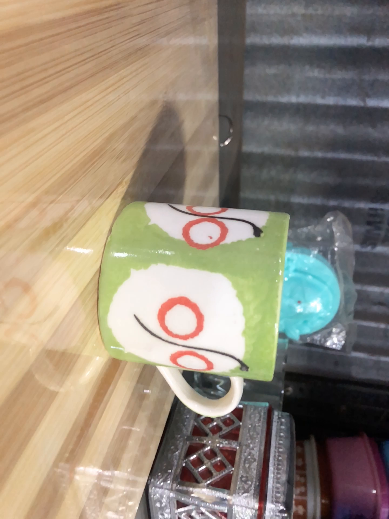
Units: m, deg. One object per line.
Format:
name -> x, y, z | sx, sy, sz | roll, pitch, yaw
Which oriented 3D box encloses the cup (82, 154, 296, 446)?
cup -> 0.004, 0.013, 0.193 | 0.070, 0.070, 0.100 | -66, 159, -61
